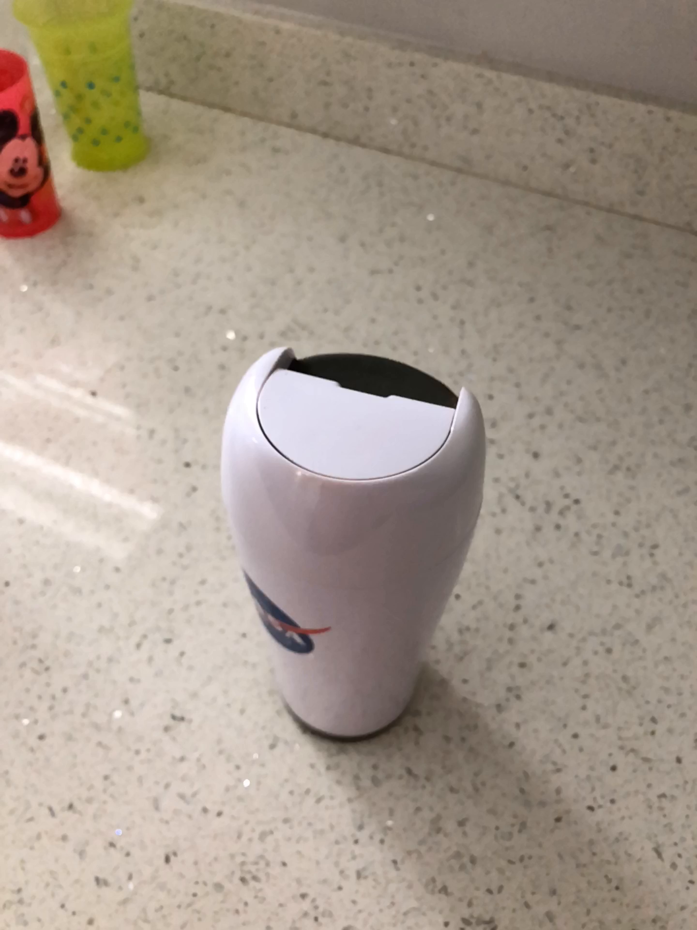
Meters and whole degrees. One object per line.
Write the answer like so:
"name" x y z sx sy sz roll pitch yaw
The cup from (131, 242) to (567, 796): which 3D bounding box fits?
"cup" -0.001 0.033 0.274 0.080 0.182 0.078 0 53 0
